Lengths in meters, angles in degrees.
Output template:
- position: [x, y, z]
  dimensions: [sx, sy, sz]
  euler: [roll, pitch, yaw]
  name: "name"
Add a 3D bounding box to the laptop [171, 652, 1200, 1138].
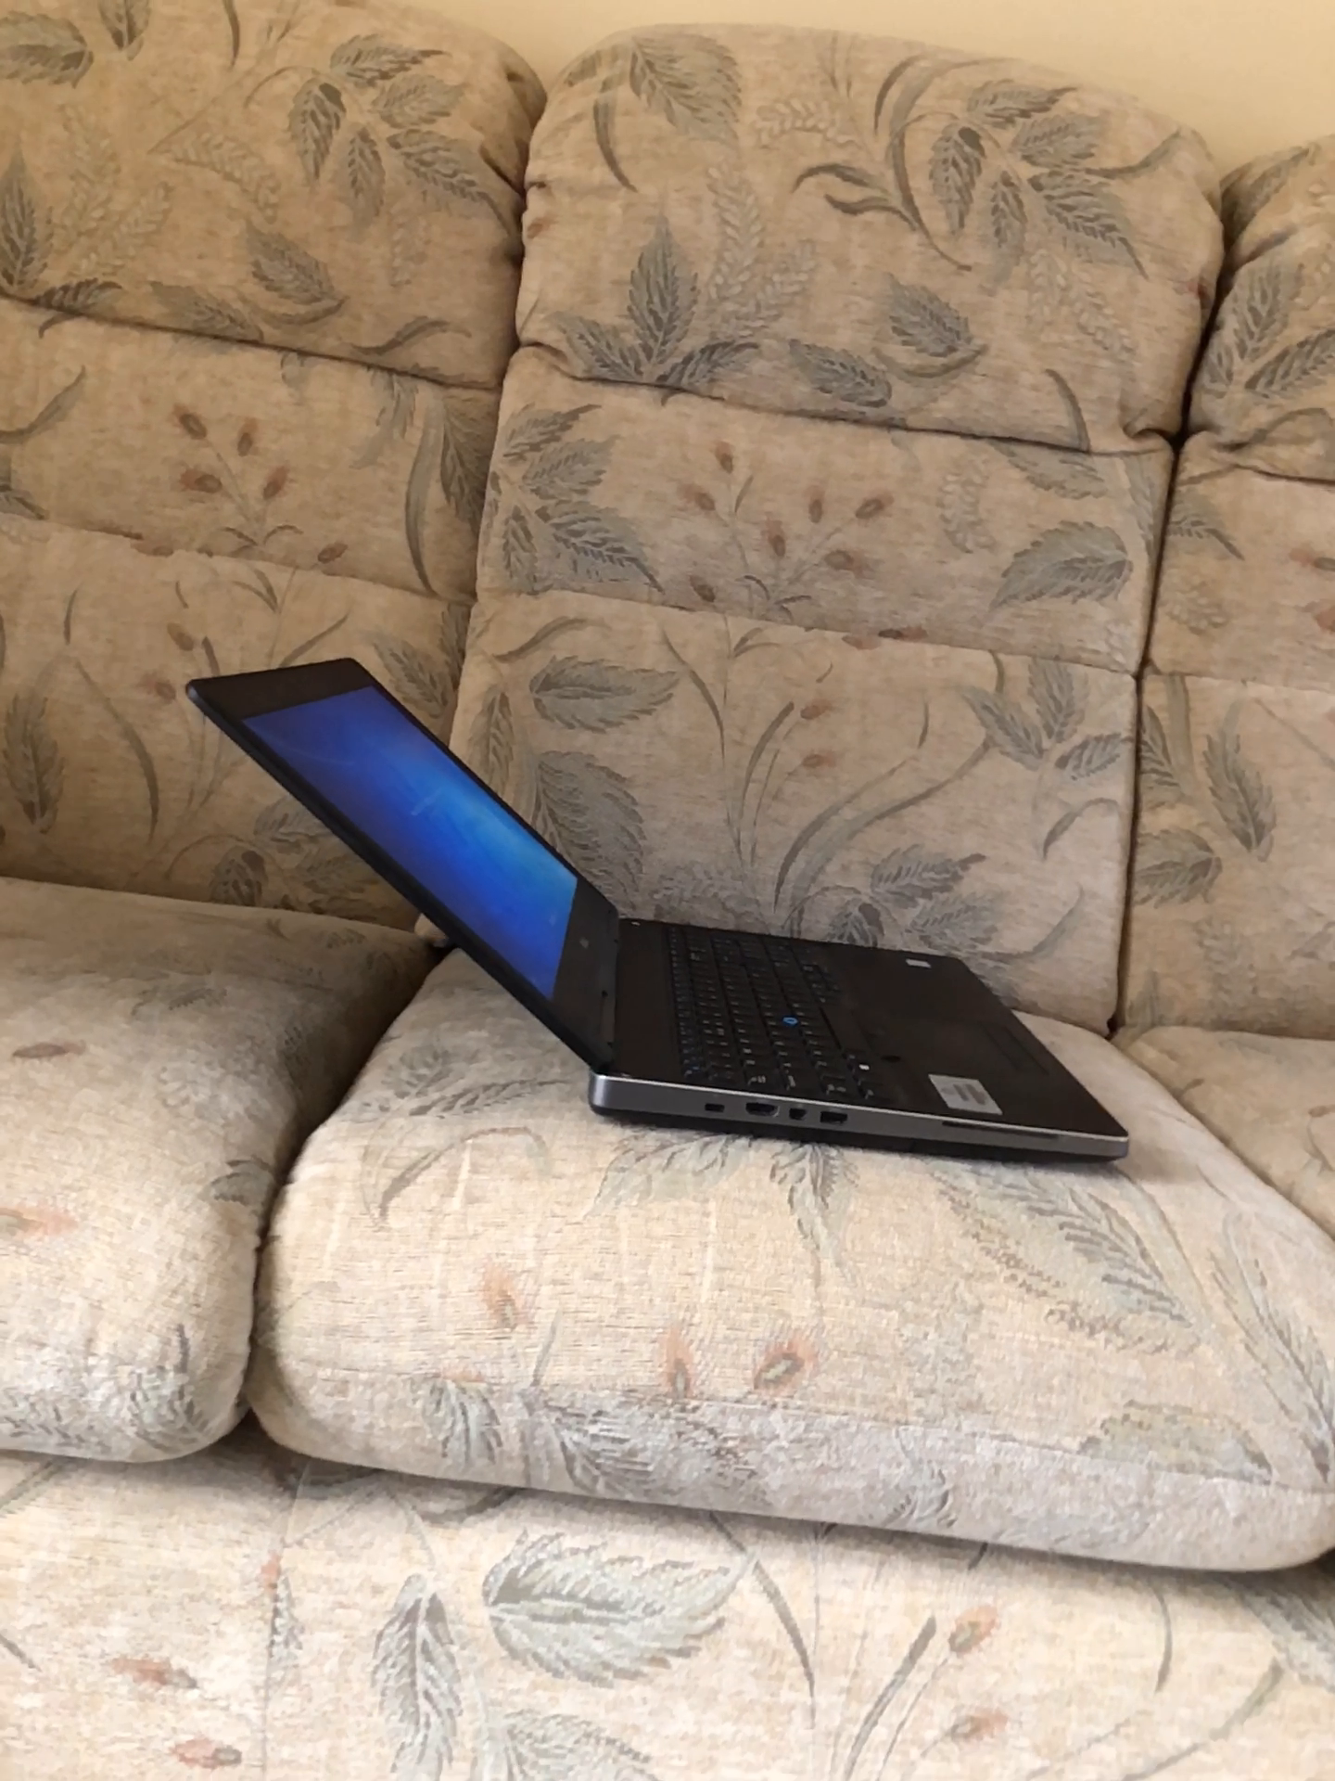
- position: [-0.003, -0.021, 0.838]
  dimensions: [0.451, 0.157, 0.356]
  euler: [7, 12, -2]
  name: "laptop"
